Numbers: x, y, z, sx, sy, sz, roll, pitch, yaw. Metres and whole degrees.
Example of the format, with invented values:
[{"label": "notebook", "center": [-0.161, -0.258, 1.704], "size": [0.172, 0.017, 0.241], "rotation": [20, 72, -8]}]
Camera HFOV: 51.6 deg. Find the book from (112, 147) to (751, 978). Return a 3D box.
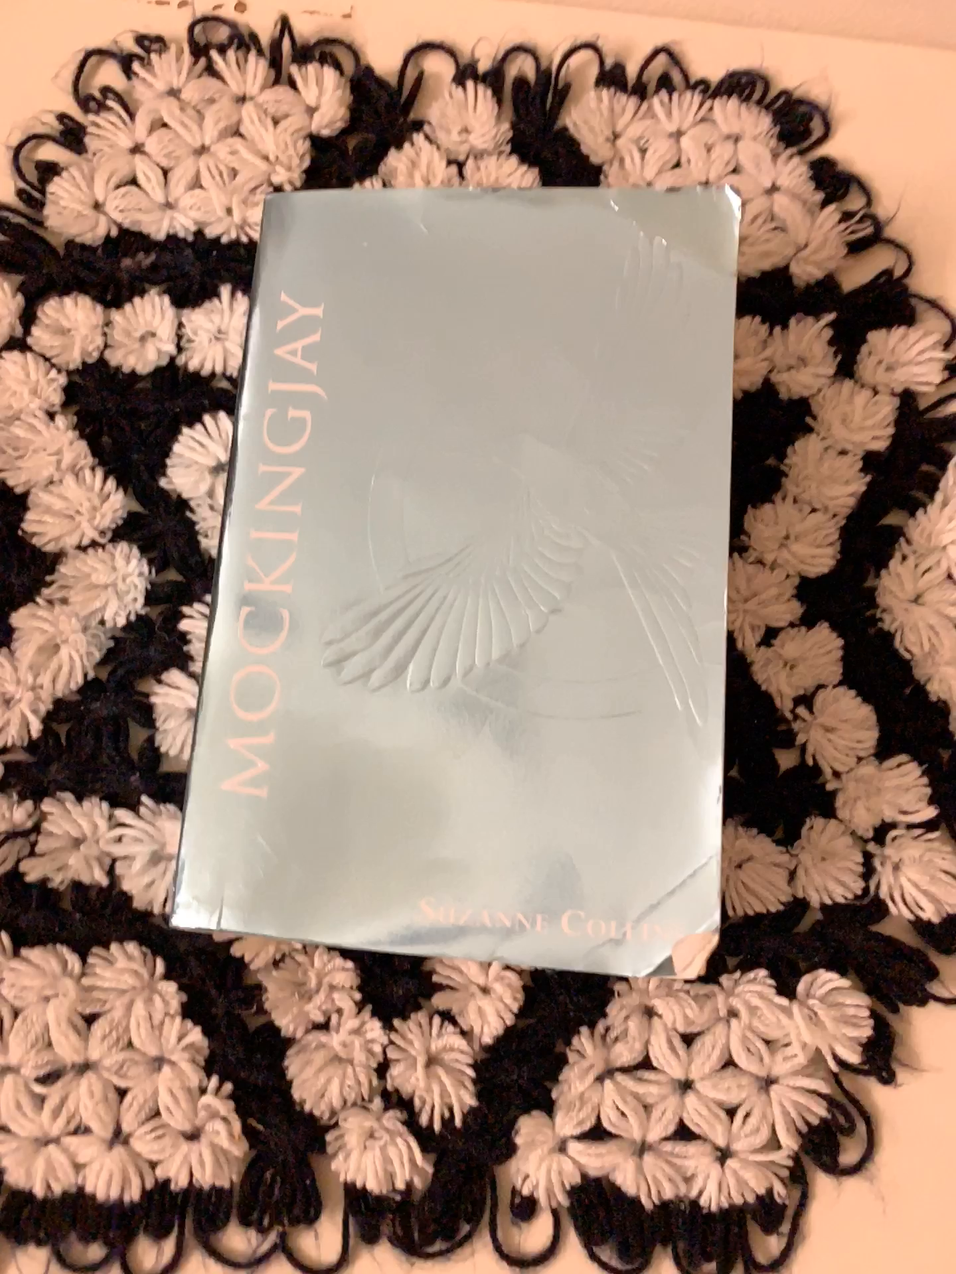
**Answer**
[{"label": "book", "center": [-0.005, -0.022, 0.249], "size": [0.136, 0.036, 0.193], "rotation": [4, 78, -1]}]
